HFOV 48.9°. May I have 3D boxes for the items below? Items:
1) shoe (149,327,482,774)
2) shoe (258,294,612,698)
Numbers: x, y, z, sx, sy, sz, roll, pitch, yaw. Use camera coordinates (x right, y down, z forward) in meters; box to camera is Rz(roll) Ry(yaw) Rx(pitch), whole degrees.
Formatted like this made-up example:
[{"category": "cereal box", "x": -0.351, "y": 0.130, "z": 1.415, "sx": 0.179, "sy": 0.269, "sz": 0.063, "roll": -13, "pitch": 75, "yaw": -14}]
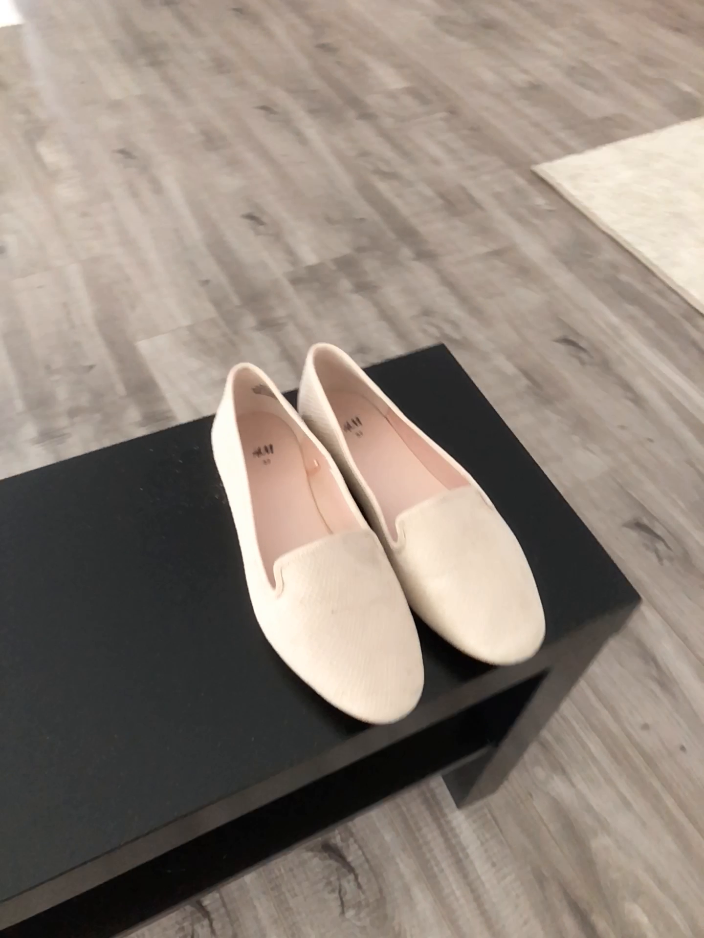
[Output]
[{"category": "shoe", "x": -0.035, "y": 0.033, "z": 0.468, "sx": 0.090, "sy": 0.070, "sz": 0.260, "roll": -19, "pitch": 56, "yaw": -18}, {"category": "shoe", "x": 0.036, "y": 0.003, "z": 0.492, "sx": 0.080, "sy": 0.070, "sz": 0.260, "roll": -23, "pitch": 57, "yaw": -21}]
